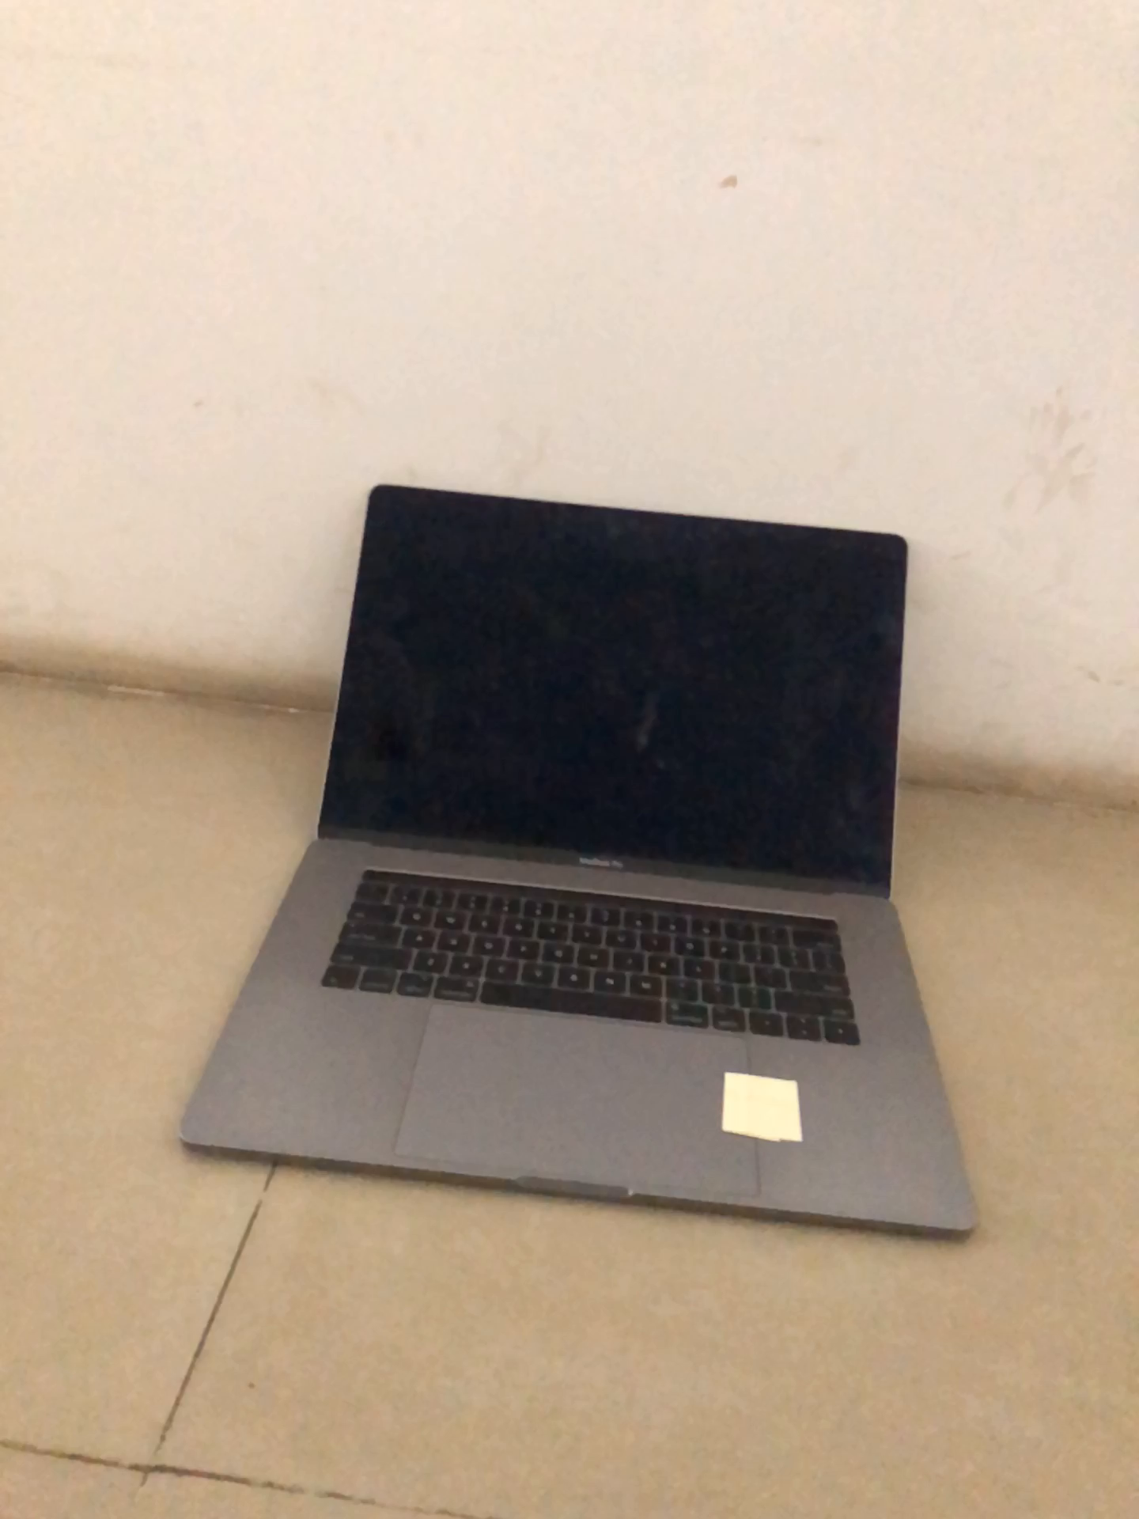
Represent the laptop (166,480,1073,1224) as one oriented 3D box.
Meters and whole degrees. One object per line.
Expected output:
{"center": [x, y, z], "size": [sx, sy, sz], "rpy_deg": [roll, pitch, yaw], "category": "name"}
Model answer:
{"center": [0.023, 0.010, 0.654], "size": [0.329, 0.162, 0.382], "rpy_deg": [6, 30, 1], "category": "laptop"}
